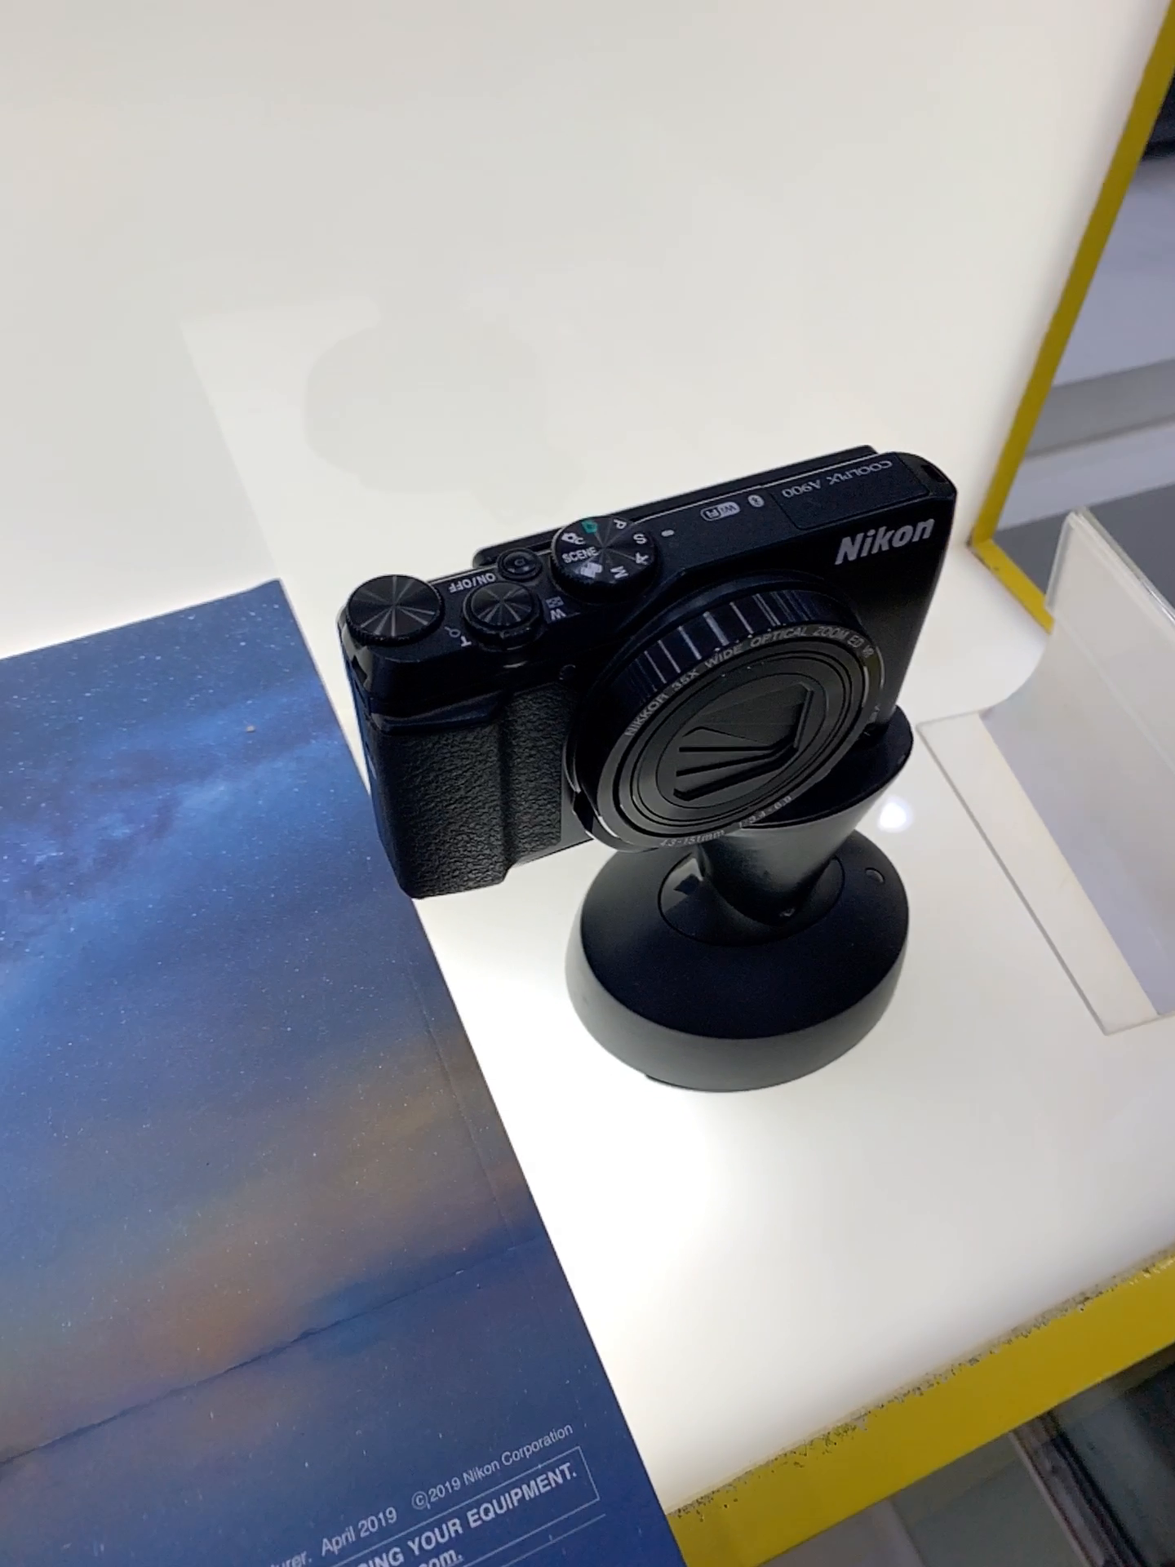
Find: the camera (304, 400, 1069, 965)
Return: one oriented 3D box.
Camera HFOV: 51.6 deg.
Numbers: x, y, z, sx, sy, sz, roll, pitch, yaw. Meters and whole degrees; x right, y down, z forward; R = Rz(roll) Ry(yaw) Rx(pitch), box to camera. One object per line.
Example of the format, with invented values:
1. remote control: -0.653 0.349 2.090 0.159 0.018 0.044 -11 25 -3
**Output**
1. camera: 0.017 -0.020 0.220 0.120 0.060 0.040 -19 55 -18
